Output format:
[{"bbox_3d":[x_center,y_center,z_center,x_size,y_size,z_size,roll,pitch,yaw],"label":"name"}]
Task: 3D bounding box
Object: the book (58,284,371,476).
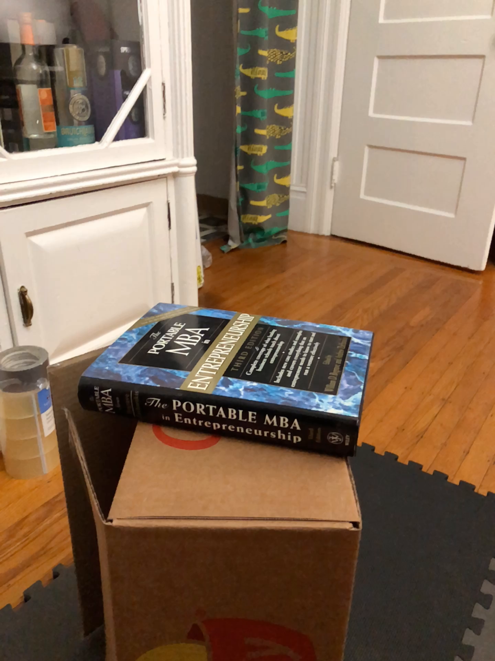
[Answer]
[{"bbox_3d":[-0.017,0.033,0.571,0.270,0.060,0.211,9,26,12],"label":"book"}]
